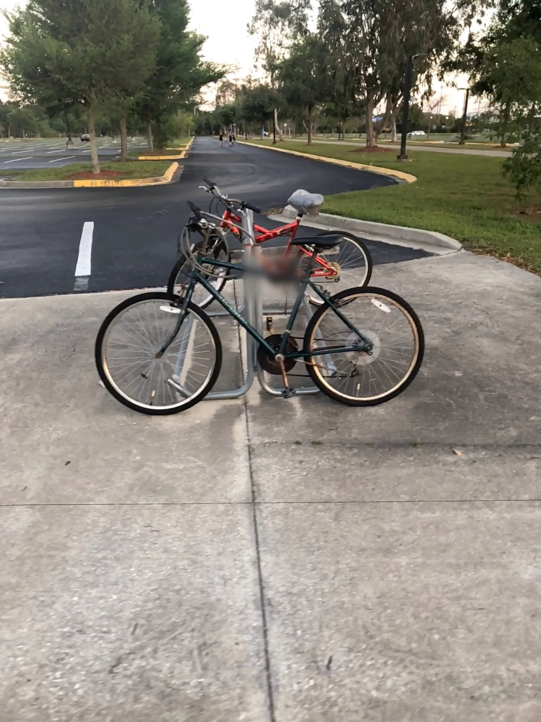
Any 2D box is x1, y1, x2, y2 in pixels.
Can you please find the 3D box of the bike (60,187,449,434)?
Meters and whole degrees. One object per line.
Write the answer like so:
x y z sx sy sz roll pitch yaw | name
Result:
-0.047 -0.296 3.117 1.750 1.104 0.586 -2 20 -3 | bike
